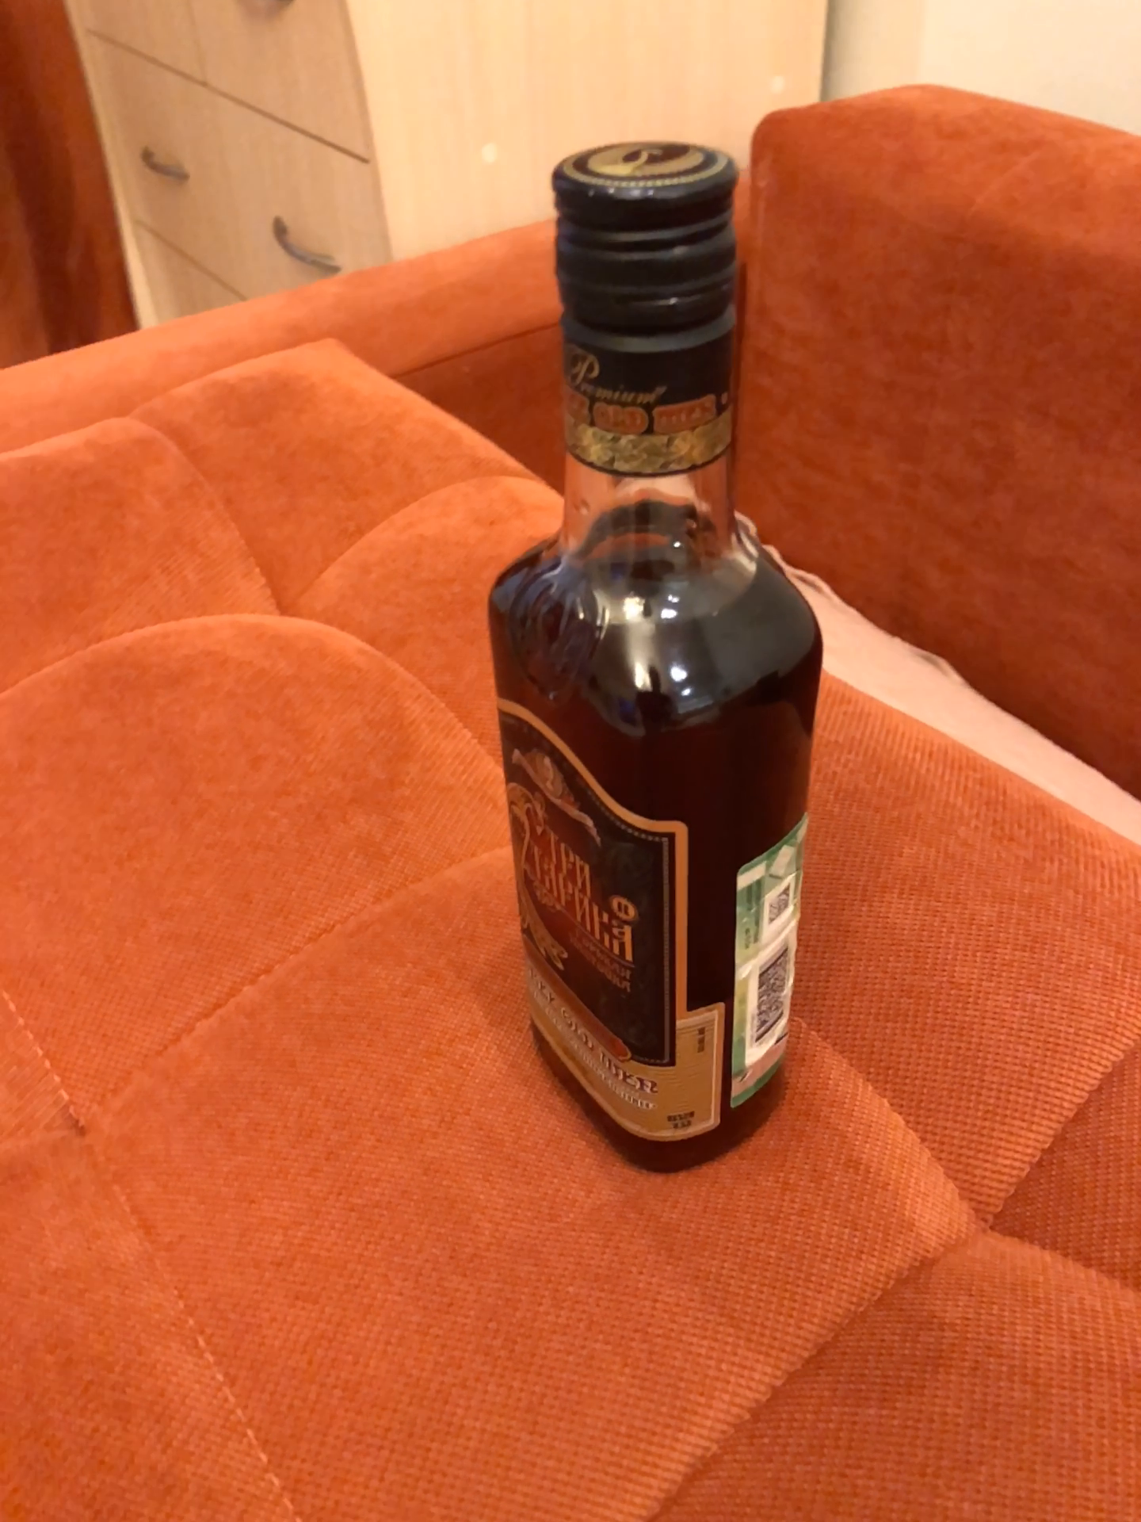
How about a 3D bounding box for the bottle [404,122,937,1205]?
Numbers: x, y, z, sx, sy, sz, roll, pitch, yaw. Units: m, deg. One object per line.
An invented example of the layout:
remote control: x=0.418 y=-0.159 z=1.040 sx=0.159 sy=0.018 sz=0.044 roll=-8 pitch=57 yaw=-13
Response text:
bottle: x=0.020 y=-0.005 z=0.288 sx=0.056 sy=0.237 sz=0.074 roll=-25 pitch=44 yaw=-24
